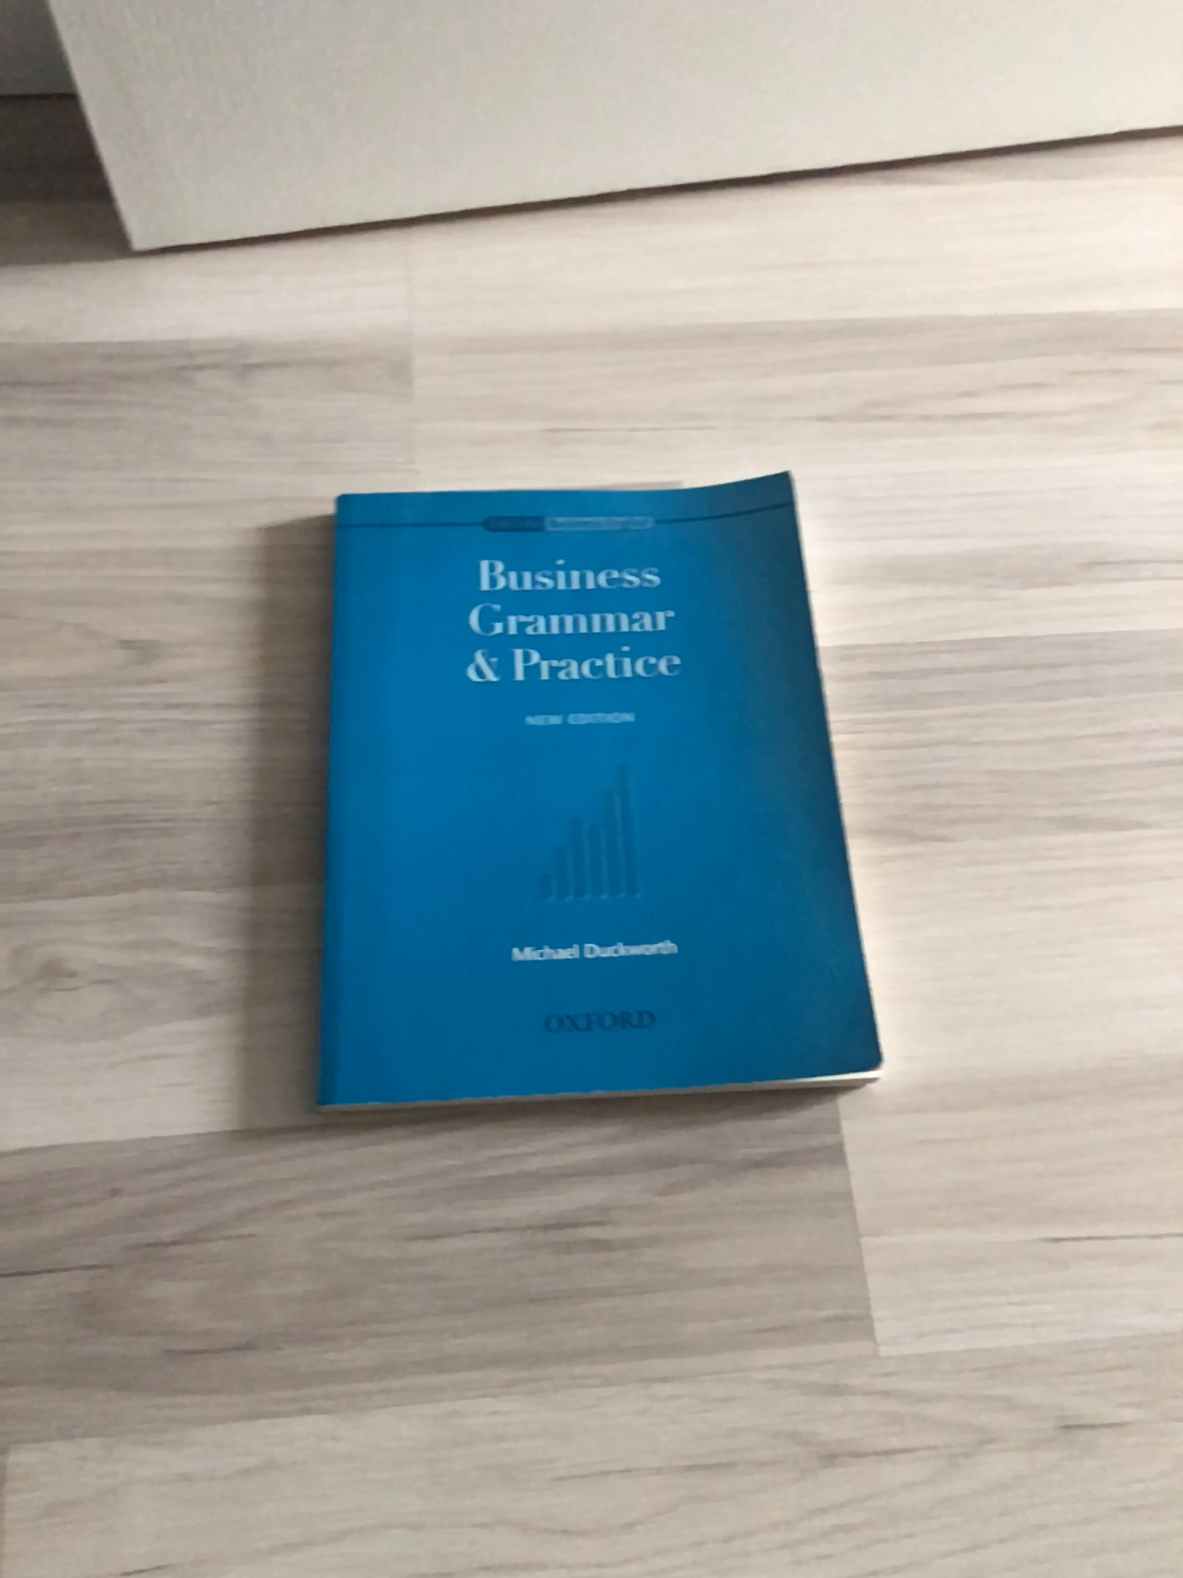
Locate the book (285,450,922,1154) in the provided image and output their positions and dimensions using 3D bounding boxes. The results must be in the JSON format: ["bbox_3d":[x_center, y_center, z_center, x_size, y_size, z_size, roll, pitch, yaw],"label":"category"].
[{"bbox_3d":[-0.003,-0.009,0.550,0.230,0.040,0.300,-2,65,-4],"label":"book"}]
